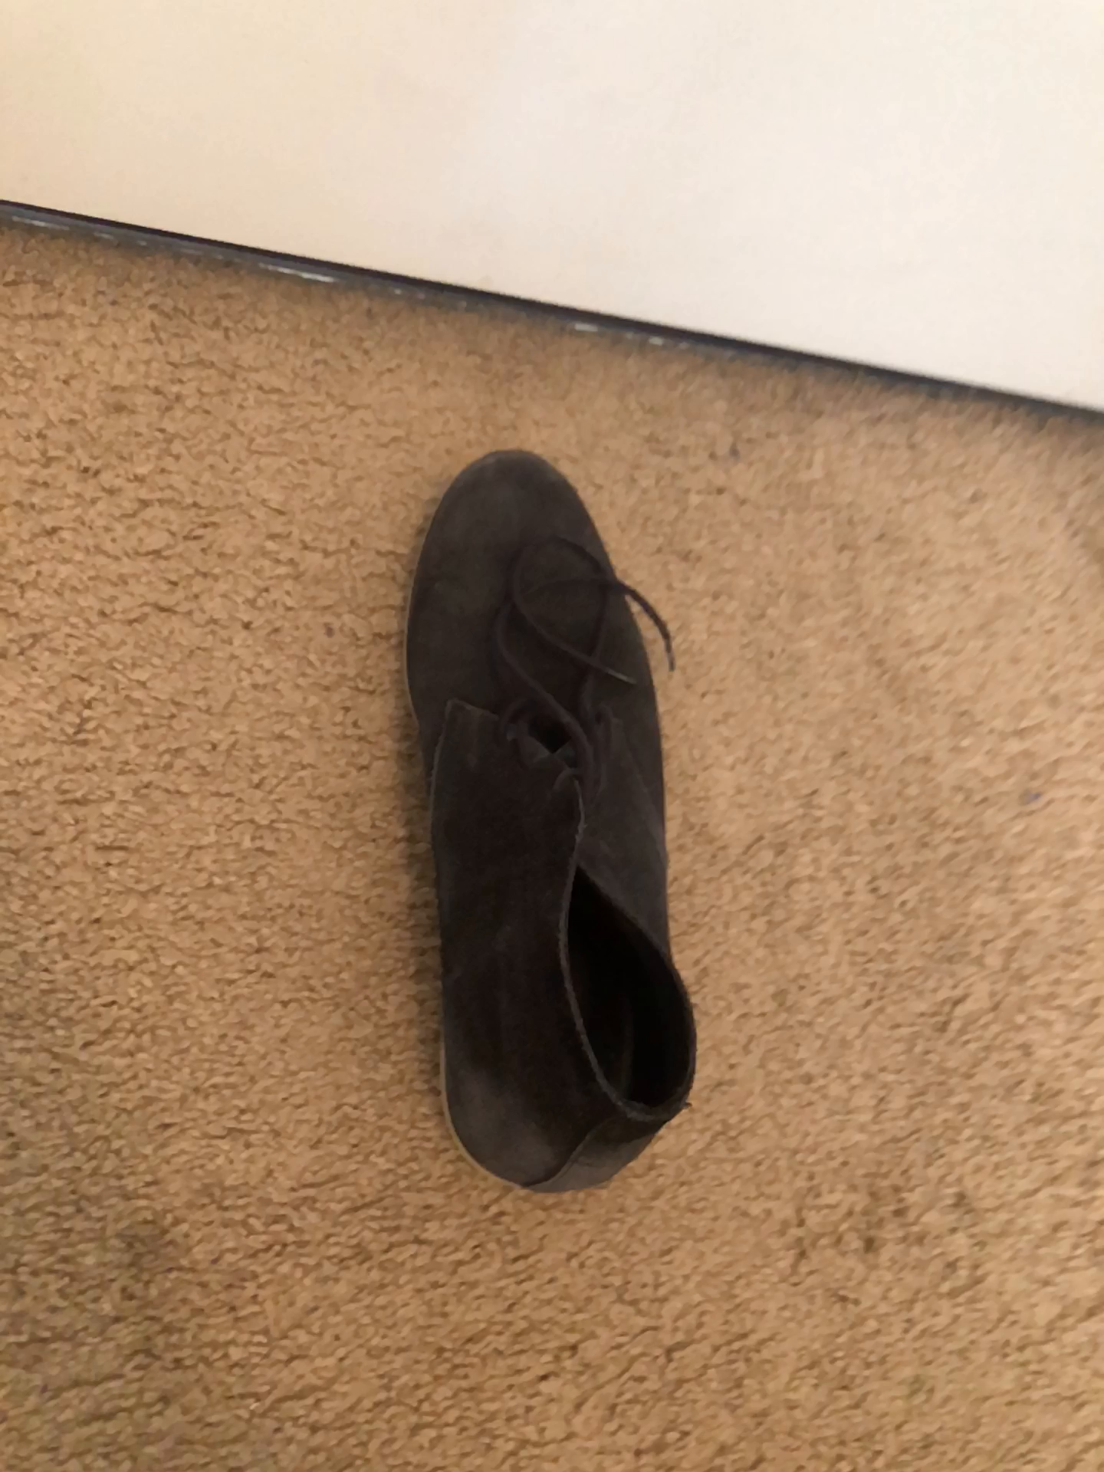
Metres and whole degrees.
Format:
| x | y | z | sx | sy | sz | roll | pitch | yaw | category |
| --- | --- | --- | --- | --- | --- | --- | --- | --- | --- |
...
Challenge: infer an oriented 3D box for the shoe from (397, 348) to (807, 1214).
| x | y | z | sx | sy | sz | roll | pitch | yaw | category |
| --- | --- | --- | --- | --- | --- | --- | --- | --- | --- |
| 0.007 | 0.017 | 0.436 | 0.103 | 0.095 | 0.279 | 5 | 69 | -20 | shoe |
